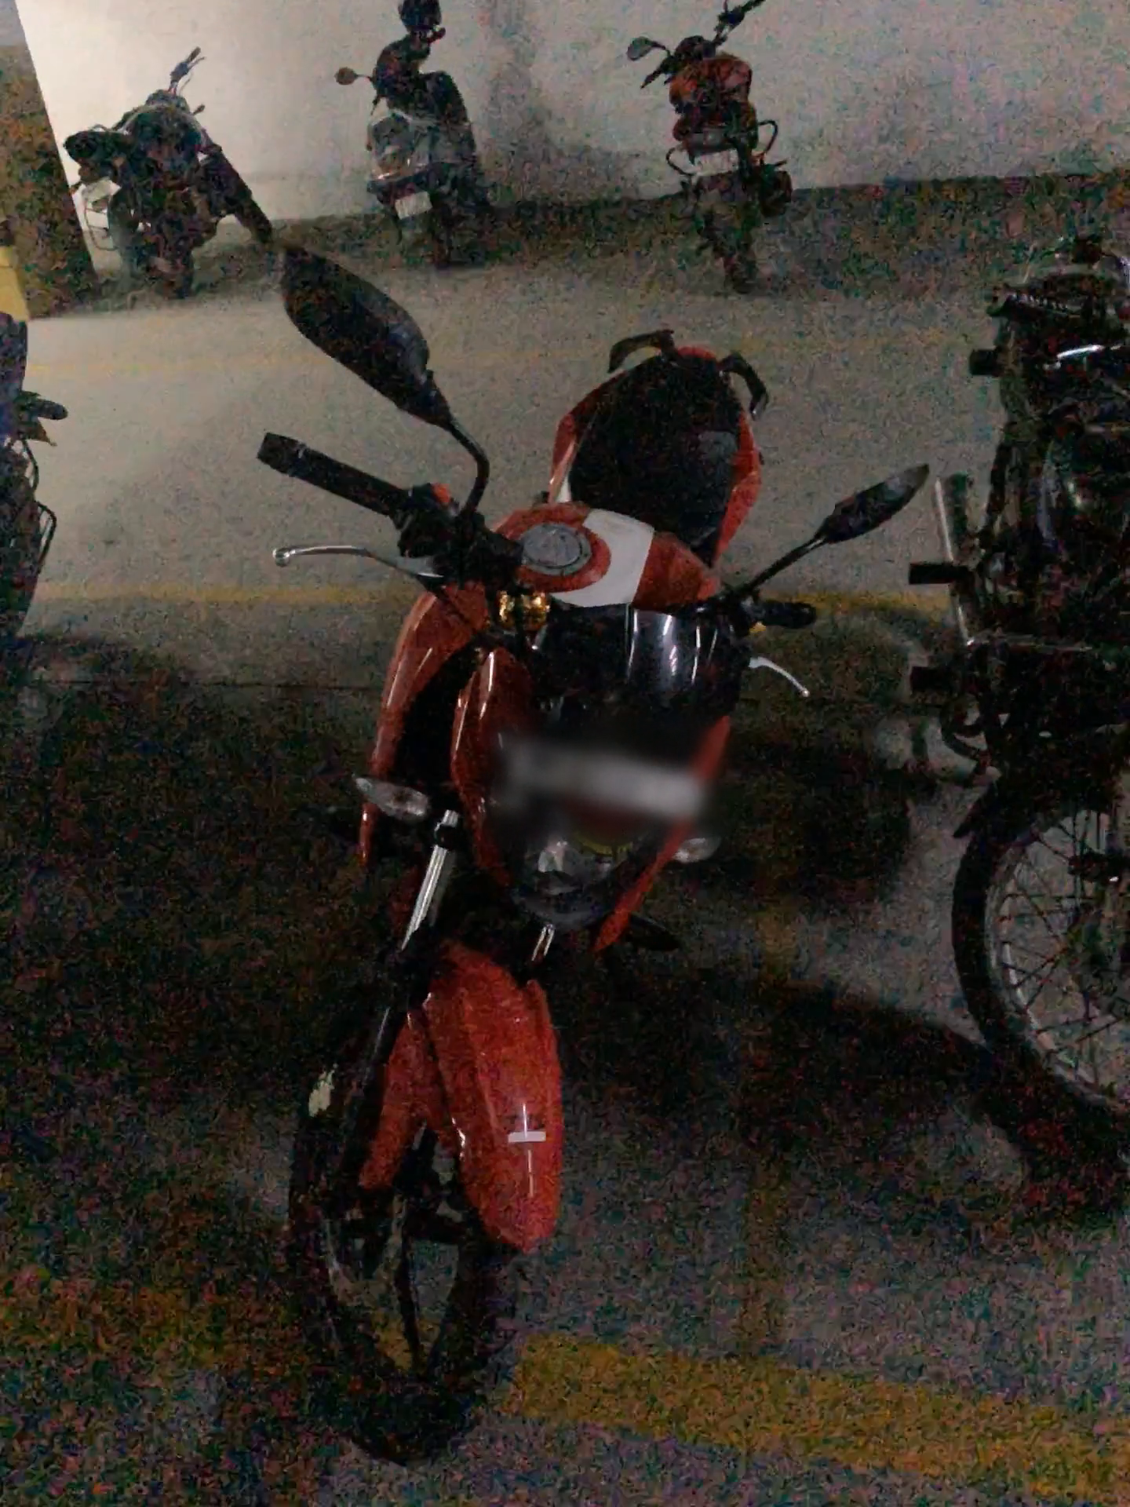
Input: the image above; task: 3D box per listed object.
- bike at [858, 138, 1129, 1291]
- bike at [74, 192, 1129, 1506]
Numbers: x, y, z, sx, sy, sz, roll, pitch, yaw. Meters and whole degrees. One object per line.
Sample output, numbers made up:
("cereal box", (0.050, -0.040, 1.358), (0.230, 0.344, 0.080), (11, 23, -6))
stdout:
("bike", (0.913, -0.245, 1.776), (0.673, 0.934, 1.574), (0, 37, 8))
("bike", (0.153, -0.015, 1.698), (0.801, 1.006, 1.701), (0, 39, 8))
